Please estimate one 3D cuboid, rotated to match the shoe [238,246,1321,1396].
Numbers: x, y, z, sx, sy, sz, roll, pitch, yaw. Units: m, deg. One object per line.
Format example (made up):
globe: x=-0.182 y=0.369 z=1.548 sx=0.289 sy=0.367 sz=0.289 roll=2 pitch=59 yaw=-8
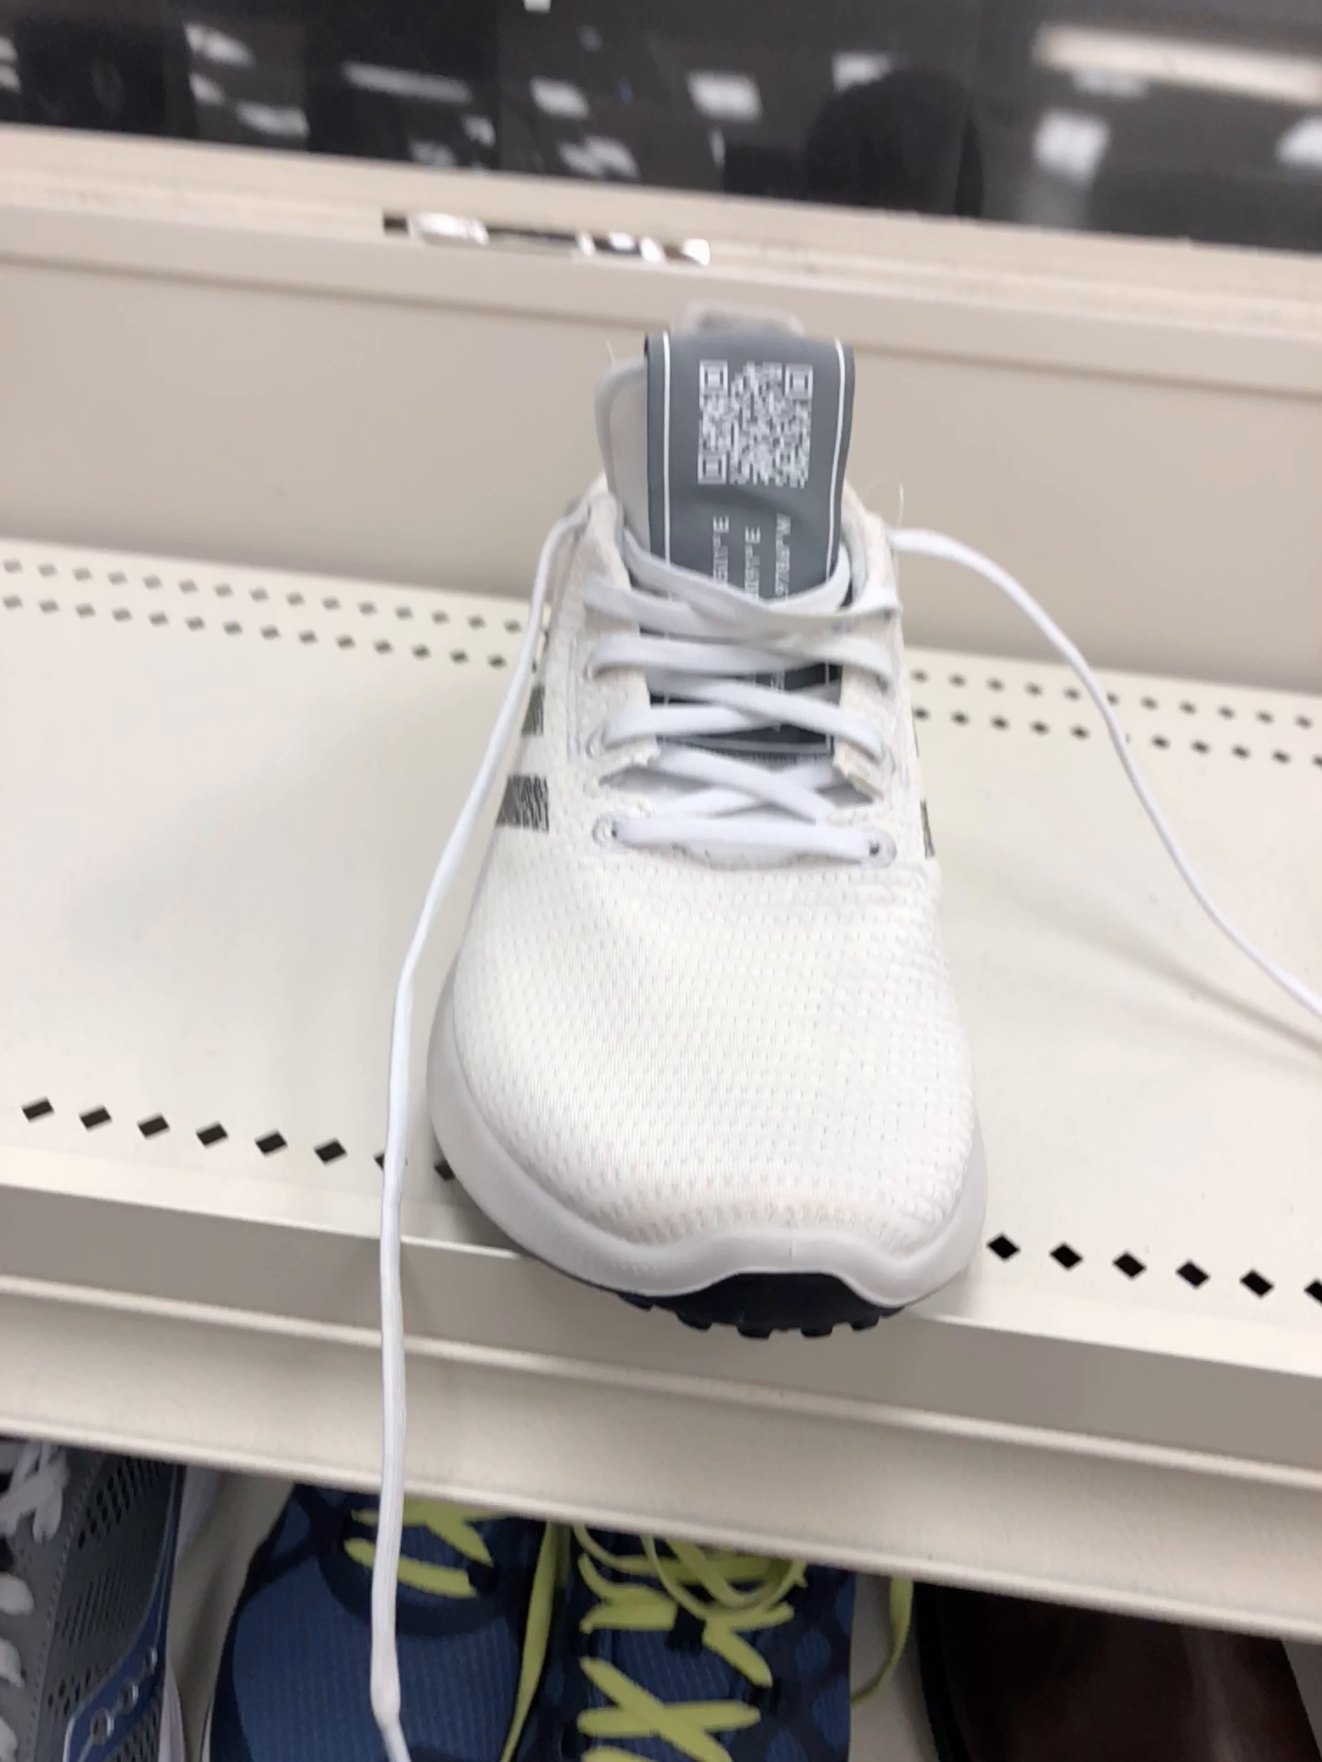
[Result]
shoe: x=0.011 y=-0.071 z=0.367 sx=0.128 sy=0.139 sz=0.383 roll=5 pitch=25 yaw=-2
